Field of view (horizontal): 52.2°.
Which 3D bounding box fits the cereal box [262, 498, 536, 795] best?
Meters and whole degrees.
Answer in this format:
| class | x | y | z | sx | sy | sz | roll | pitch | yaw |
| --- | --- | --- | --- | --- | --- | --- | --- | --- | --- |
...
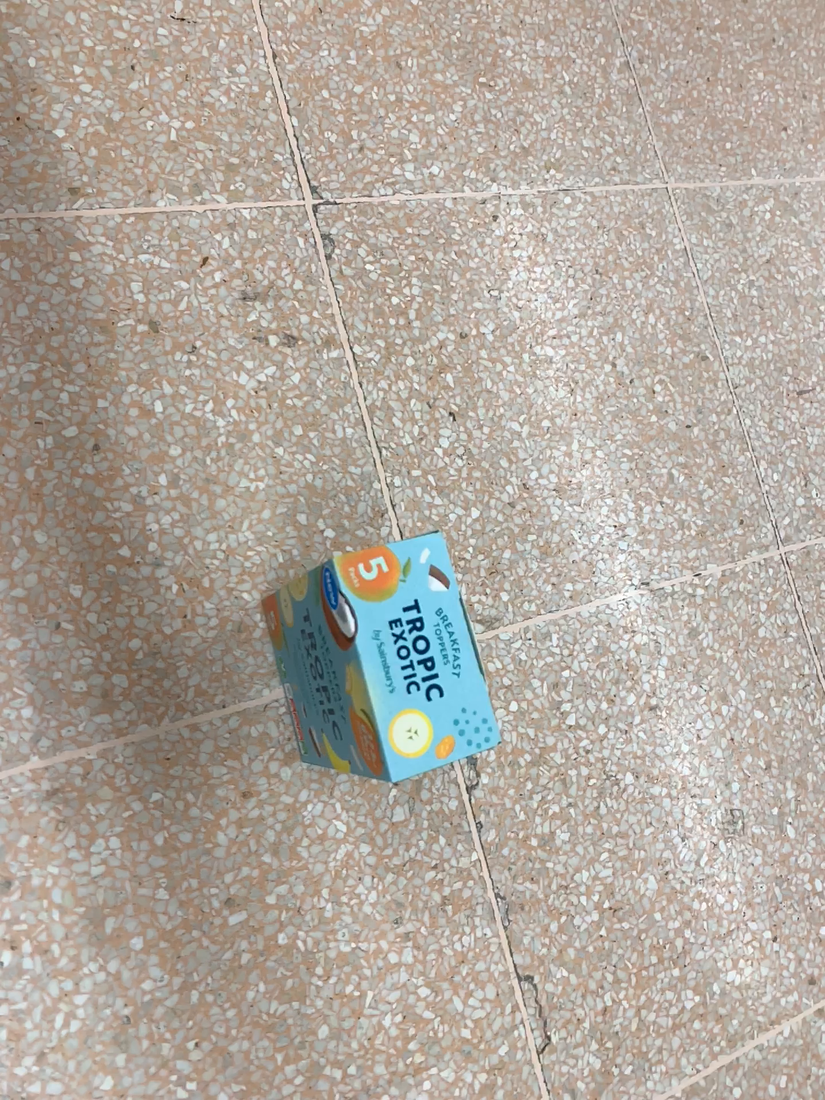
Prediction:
| class | x | y | z | sx | sy | sz | roll | pitch | yaw |
| --- | --- | --- | --- | --- | --- | --- | --- | --- | --- |
| cereal box | -0.017 | 0.050 | 0.416 | 0.060 | 0.149 | 0.110 | -13 | 85 | -23 |
